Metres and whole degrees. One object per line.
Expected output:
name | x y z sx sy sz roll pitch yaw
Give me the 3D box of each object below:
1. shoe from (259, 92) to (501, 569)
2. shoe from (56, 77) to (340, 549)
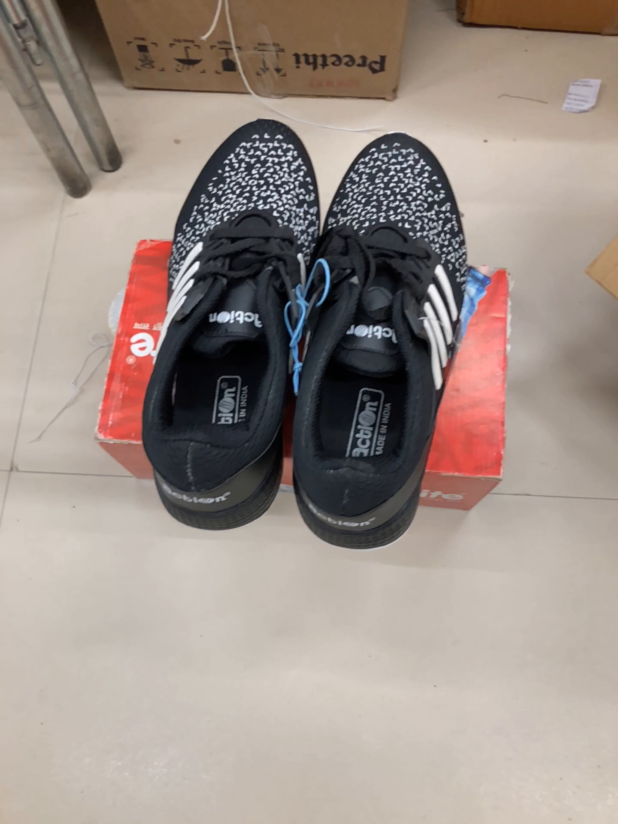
shoe | 0.047 -0.050 0.427 0.101 0.103 0.267 8 72 4
shoe | -0.053 -0.062 0.432 0.111 0.103 0.267 7 72 4
